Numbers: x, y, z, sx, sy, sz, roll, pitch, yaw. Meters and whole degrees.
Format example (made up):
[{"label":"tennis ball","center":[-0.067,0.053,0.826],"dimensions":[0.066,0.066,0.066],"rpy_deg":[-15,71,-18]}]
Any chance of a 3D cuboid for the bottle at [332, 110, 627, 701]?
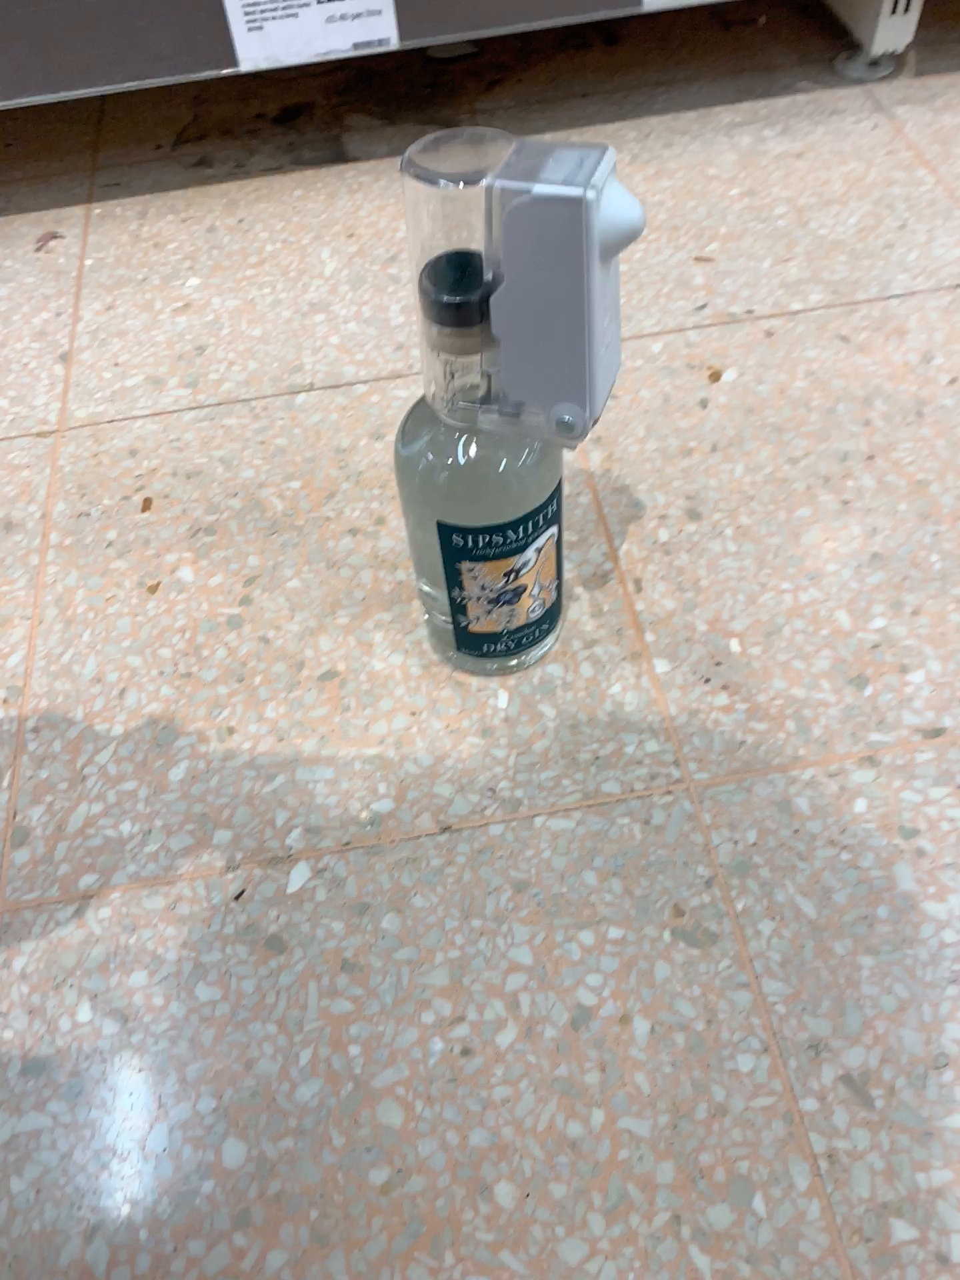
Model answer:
[{"label":"bottle","center":[0.005,-0.072,0.387],"dimensions":[0.074,0.222,0.069],"rpy_deg":[-2,54,3]}]
